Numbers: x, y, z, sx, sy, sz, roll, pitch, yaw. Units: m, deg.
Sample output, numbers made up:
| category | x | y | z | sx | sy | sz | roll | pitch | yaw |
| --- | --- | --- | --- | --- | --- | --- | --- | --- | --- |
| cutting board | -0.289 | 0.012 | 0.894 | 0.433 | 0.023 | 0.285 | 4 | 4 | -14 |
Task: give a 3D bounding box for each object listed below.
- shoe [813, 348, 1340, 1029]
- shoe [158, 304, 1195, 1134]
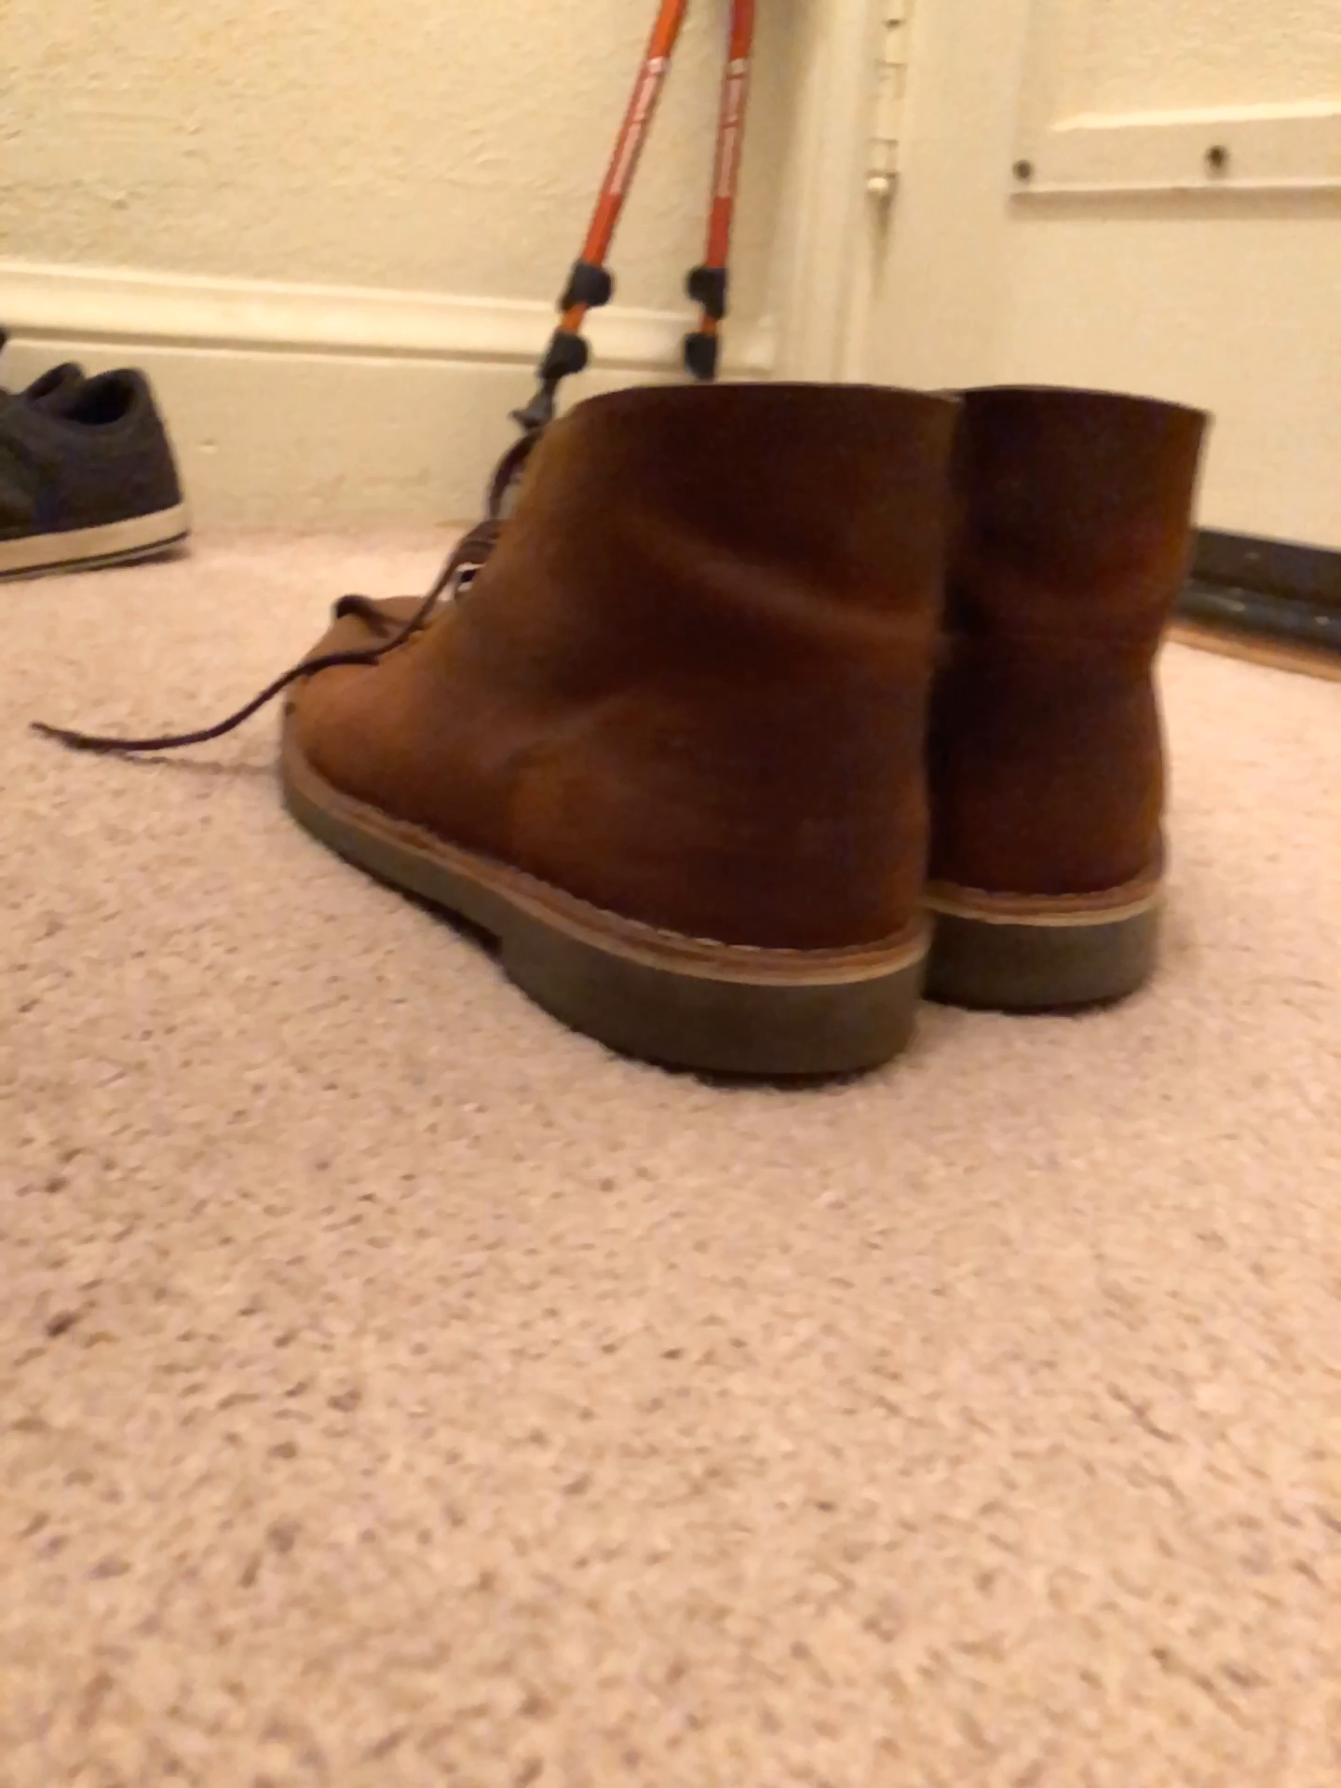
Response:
| category | x | y | z | sx | sy | sz | roll | pitch | yaw |
| --- | --- | --- | --- | --- | --- | --- | --- | --- | --- |
| shoe | 0.109 | -0.092 | 0.469 | 0.110 | 0.138 | 0.305 | 5 | 21 | 3 |
| shoe | -0.032 | -0.078 | 0.406 | 0.110 | 0.138 | 0.304 | -11 | 26 | -35 |
